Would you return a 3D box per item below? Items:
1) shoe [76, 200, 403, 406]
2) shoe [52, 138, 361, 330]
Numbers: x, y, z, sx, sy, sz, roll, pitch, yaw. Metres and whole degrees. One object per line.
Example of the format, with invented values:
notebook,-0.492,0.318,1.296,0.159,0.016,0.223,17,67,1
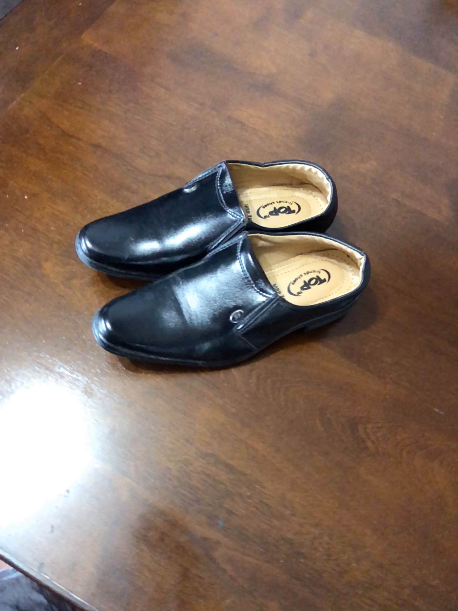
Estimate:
shoe,0.006,-0.002,0.422,0.230,0.090,0.090,-15,69,-12
shoe,-0.020,-0.063,0.441,0.230,0.080,0.090,-15,69,-12
